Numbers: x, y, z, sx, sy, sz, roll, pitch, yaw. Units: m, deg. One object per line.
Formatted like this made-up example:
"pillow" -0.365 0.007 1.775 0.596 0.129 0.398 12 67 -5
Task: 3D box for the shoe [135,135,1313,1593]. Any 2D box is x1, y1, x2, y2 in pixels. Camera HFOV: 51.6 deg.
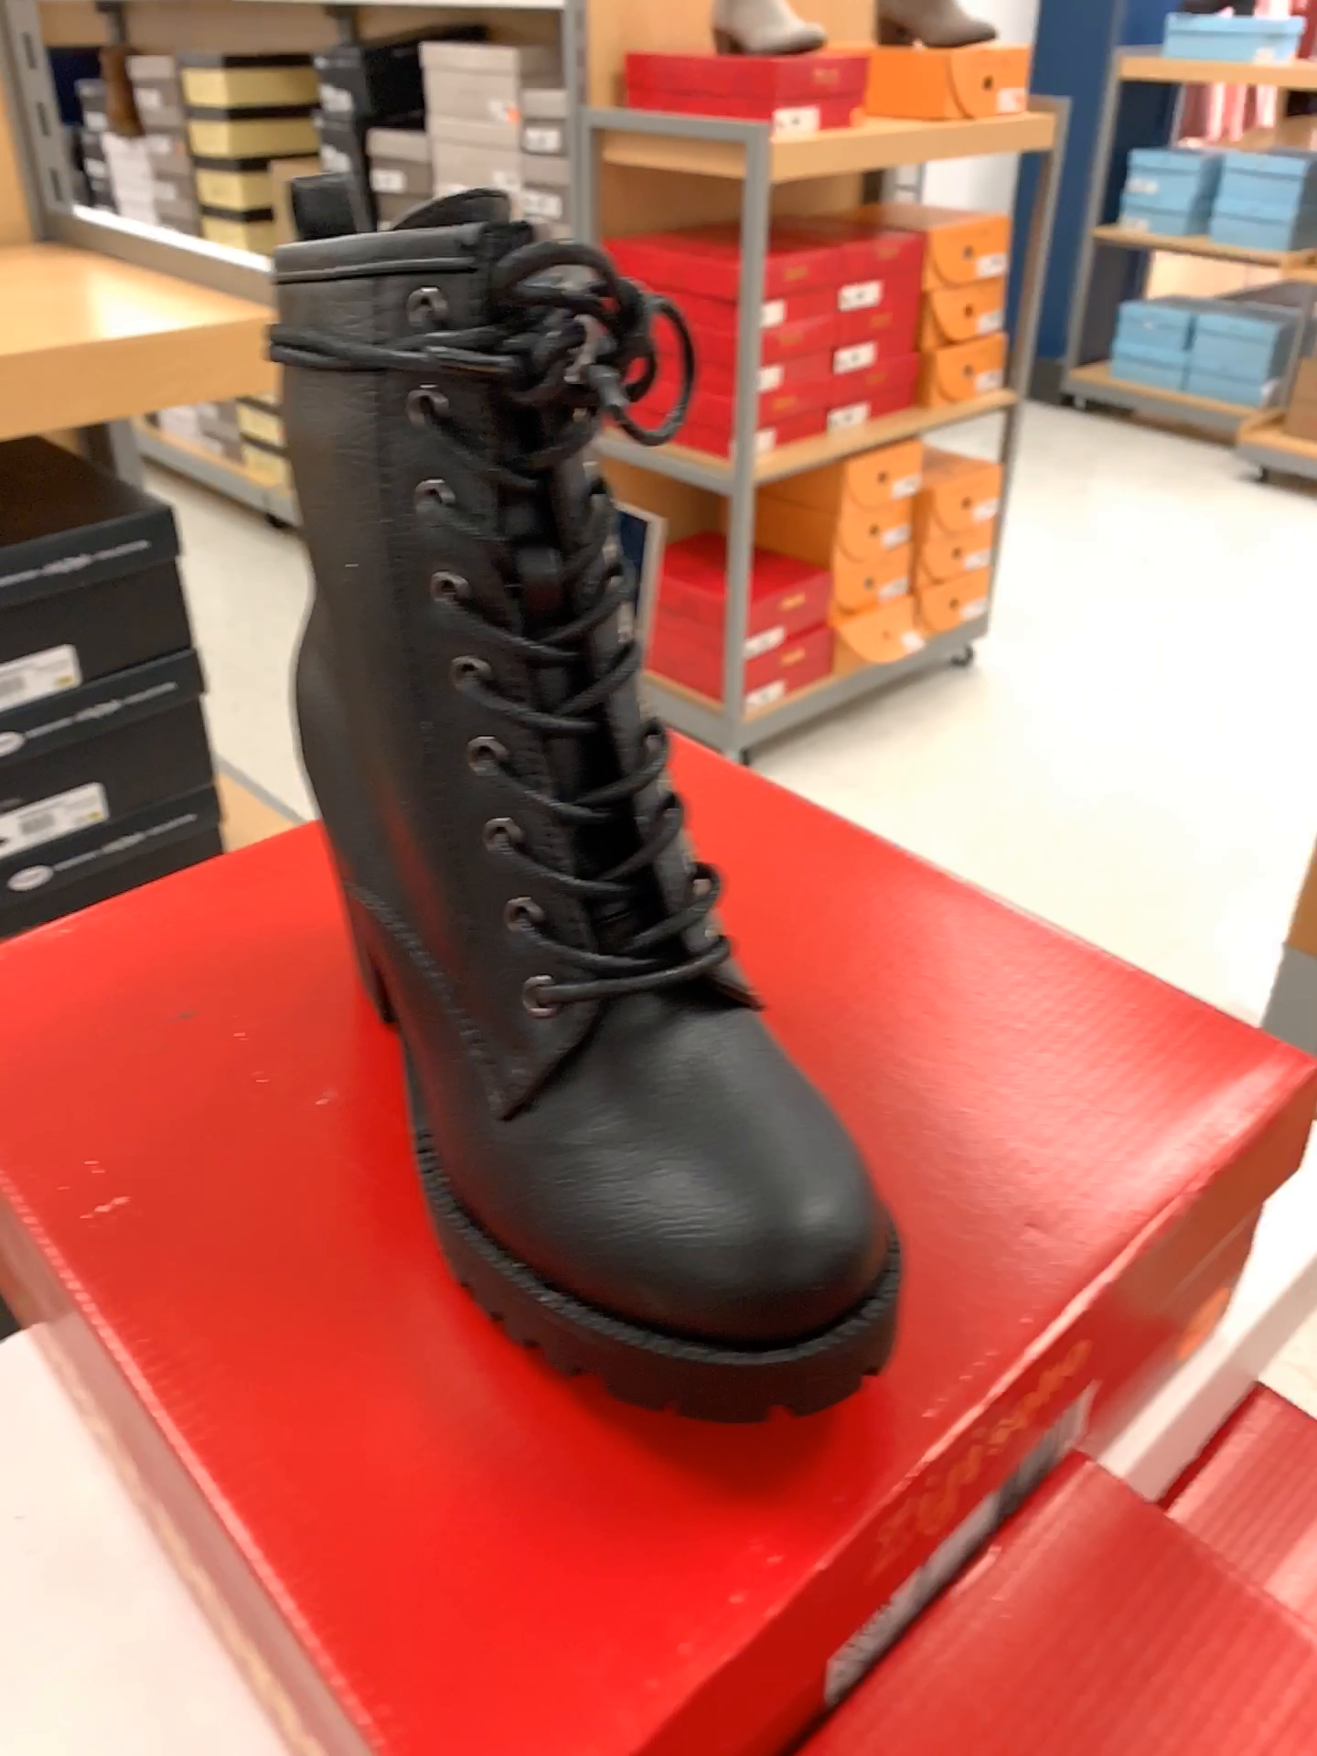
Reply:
"shoe" -0.013 -0.023 0.272 0.092 0.203 0.202 -18 37 -26
